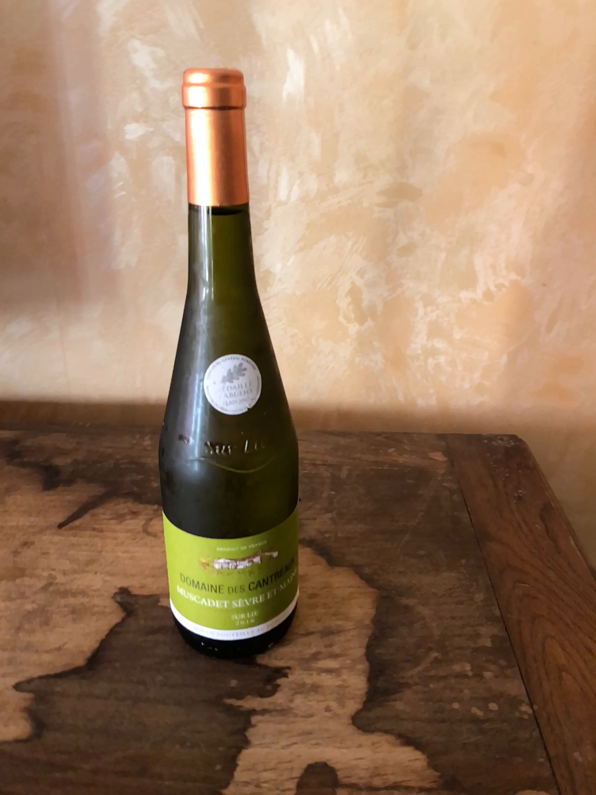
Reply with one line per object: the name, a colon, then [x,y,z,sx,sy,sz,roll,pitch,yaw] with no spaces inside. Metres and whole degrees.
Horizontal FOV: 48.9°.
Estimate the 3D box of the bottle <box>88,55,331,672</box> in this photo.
bottle: [-0.040,-0.003,0.345,0.090,0.308,0.080,0,25,-5]
